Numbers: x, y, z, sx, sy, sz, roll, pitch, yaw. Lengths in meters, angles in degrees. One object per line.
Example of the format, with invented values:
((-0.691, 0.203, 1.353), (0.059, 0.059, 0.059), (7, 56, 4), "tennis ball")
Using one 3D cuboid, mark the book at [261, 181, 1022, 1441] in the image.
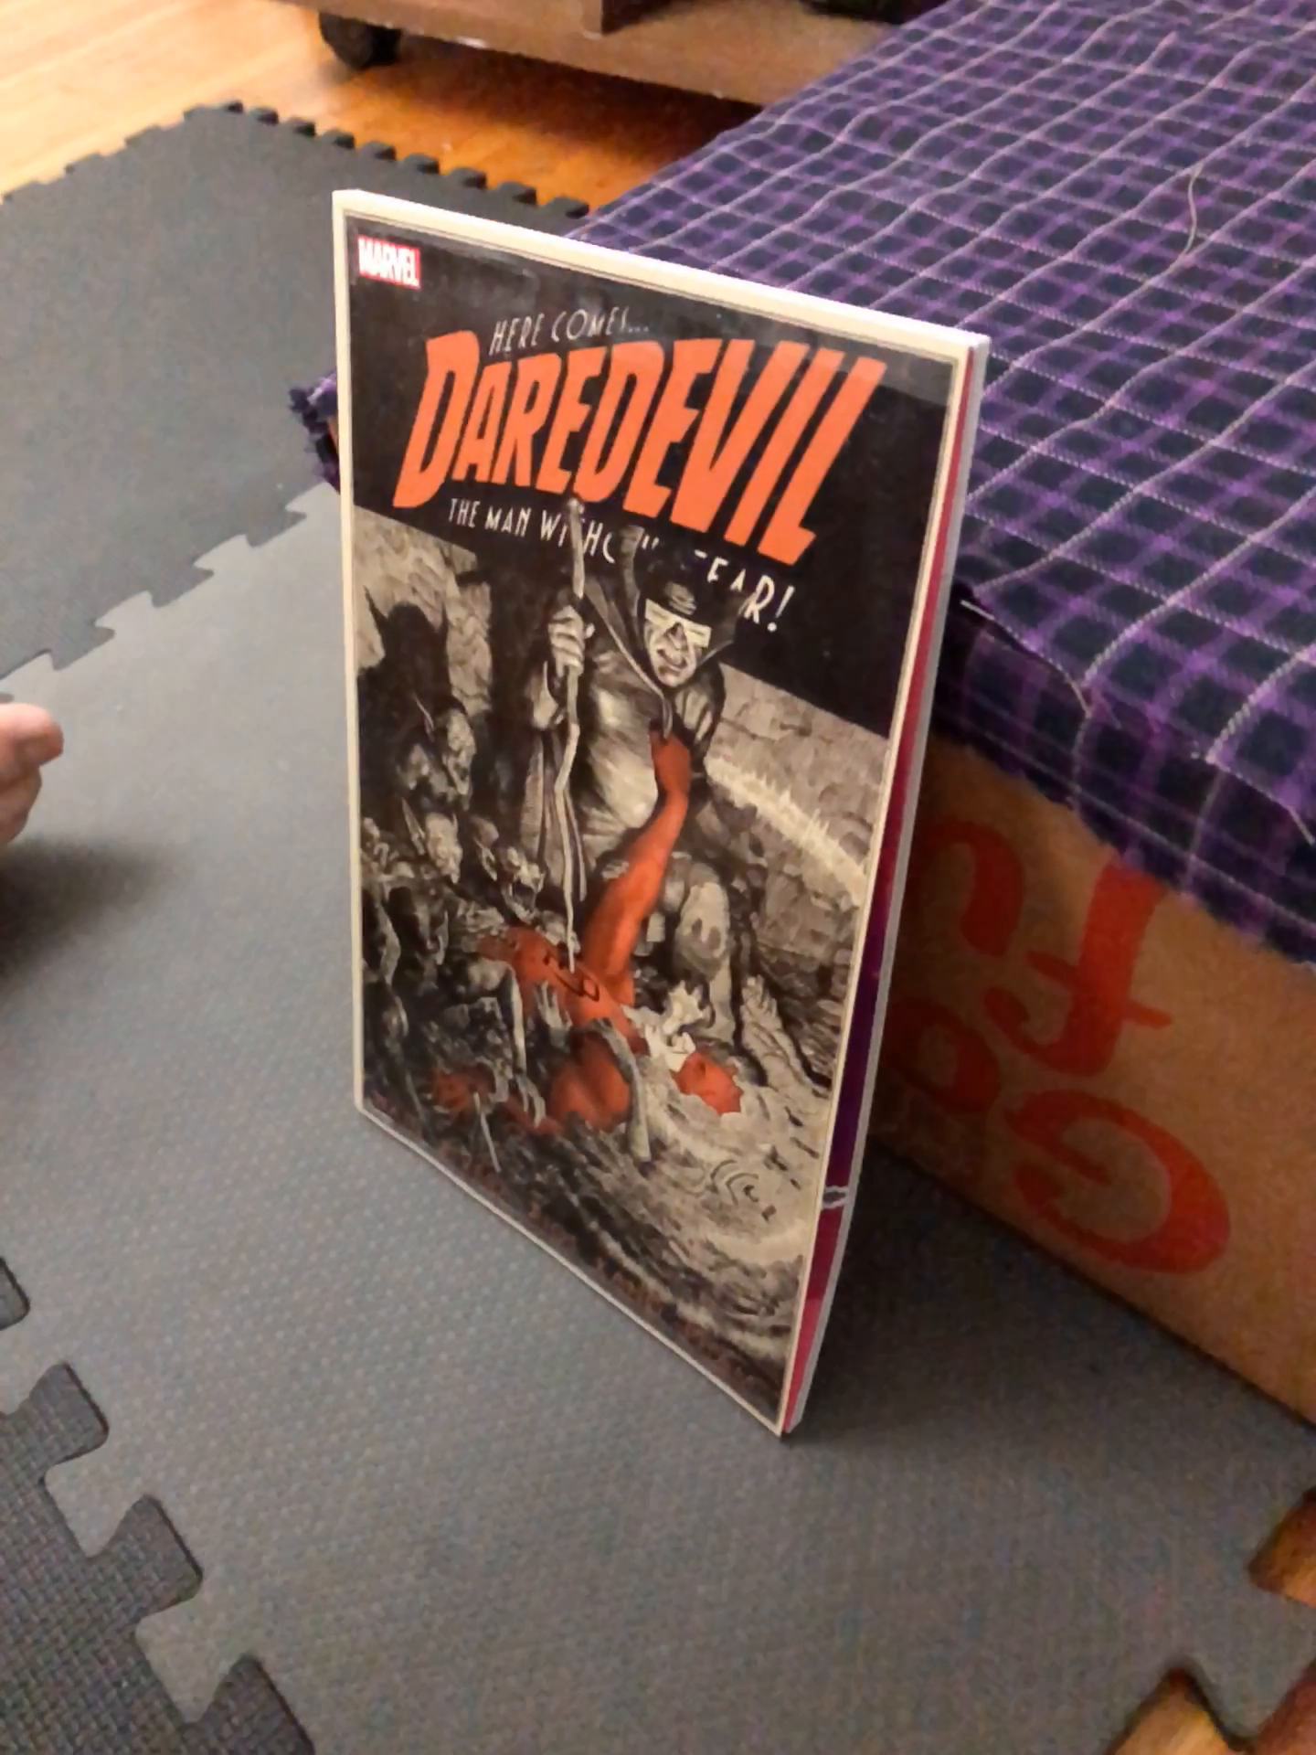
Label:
((-0.021, -0.011, 0.309), (0.160, 0.229, 0.020), (28, 38, 33), "book")
